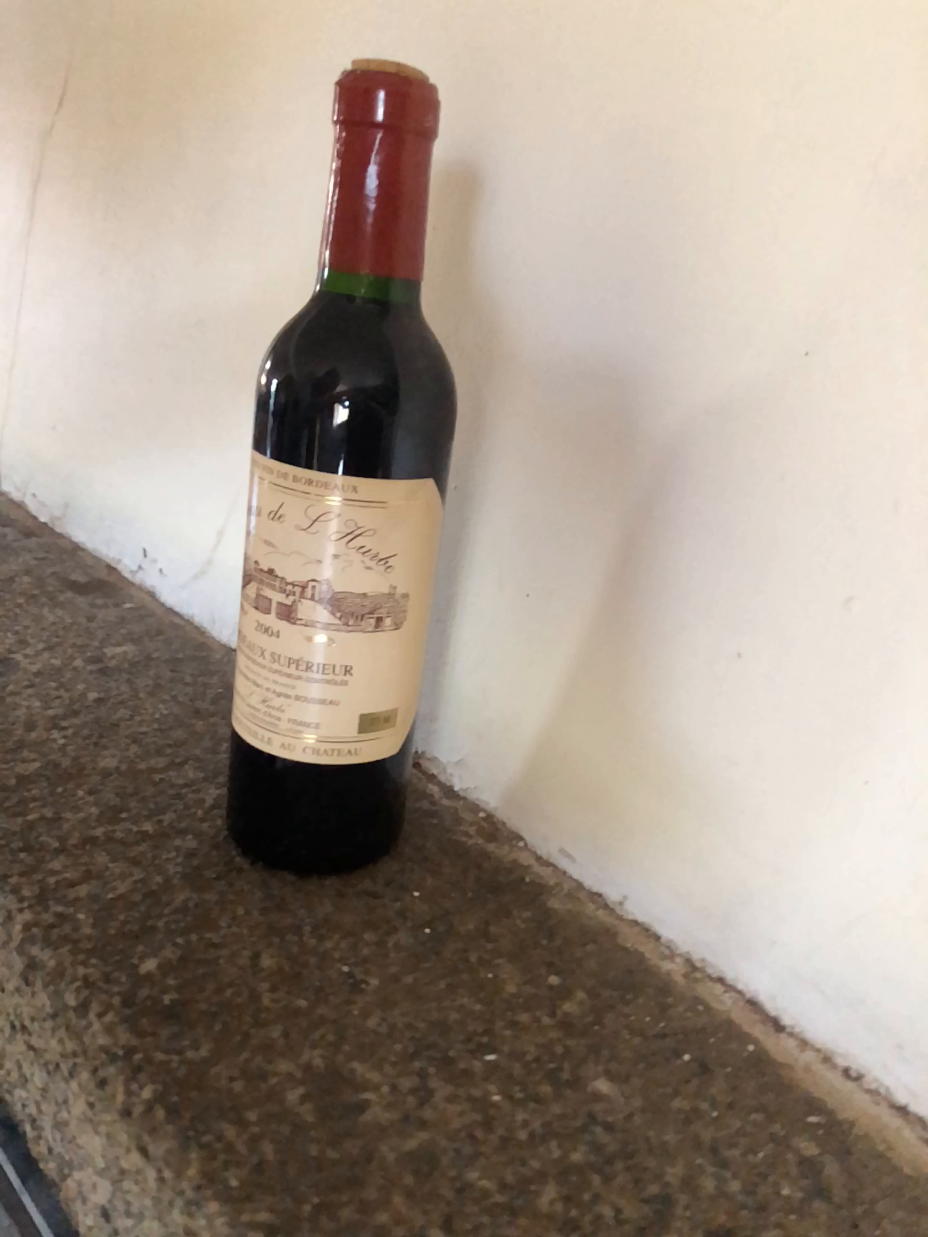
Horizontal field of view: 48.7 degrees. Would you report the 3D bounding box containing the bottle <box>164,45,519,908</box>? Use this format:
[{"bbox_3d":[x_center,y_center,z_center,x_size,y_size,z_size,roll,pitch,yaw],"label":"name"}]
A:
[{"bbox_3d":[-0.041,-0.037,0.309,0.060,0.229,0.060,7,17,-2],"label":"bottle"}]
